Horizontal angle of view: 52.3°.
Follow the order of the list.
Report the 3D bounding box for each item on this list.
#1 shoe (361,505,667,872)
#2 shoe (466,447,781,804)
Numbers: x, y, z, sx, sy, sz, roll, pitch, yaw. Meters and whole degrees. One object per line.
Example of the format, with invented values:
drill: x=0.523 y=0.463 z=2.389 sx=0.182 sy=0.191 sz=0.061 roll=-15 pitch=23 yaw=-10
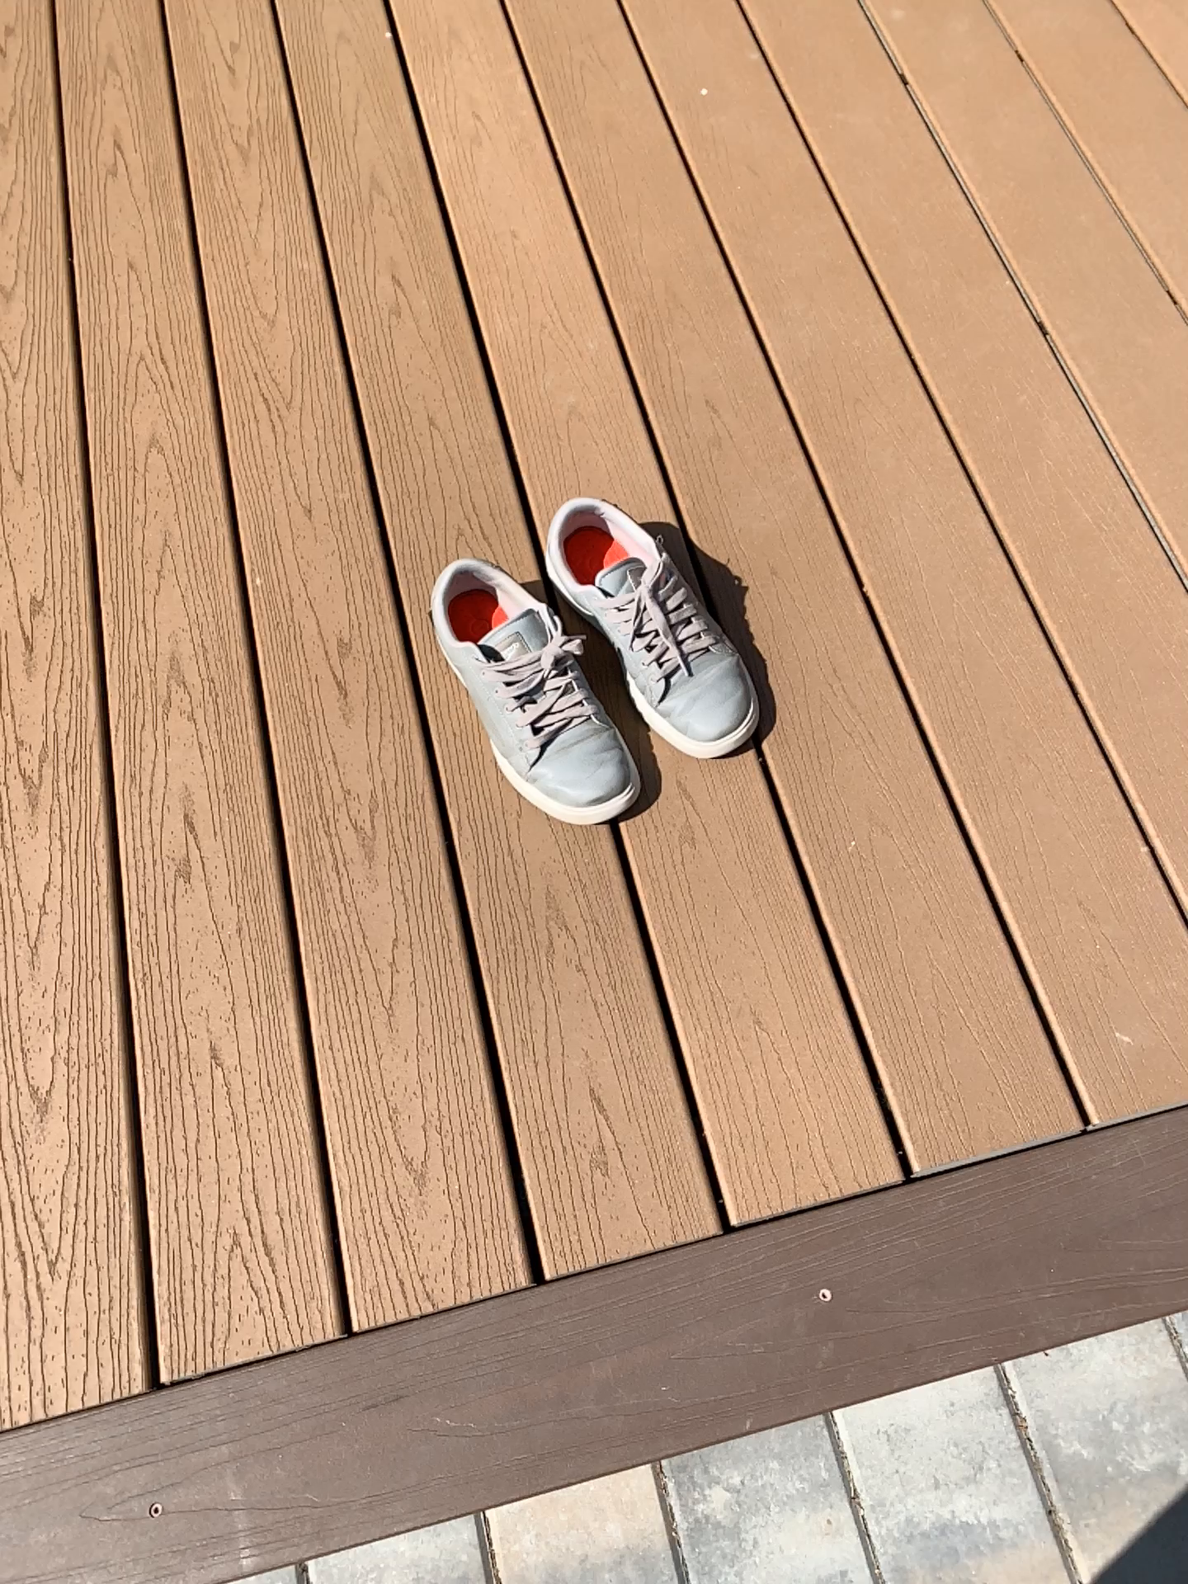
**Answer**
shoe: x=-0.068 y=-0.091 z=1.021 sx=0.120 sy=0.100 sz=0.281 roll=-31 pitch=66 yaw=-11
shoe: x=0.021 y=-0.149 z=1.060 sx=0.120 sy=0.100 sz=0.291 roll=-32 pitch=67 yaw=-12
